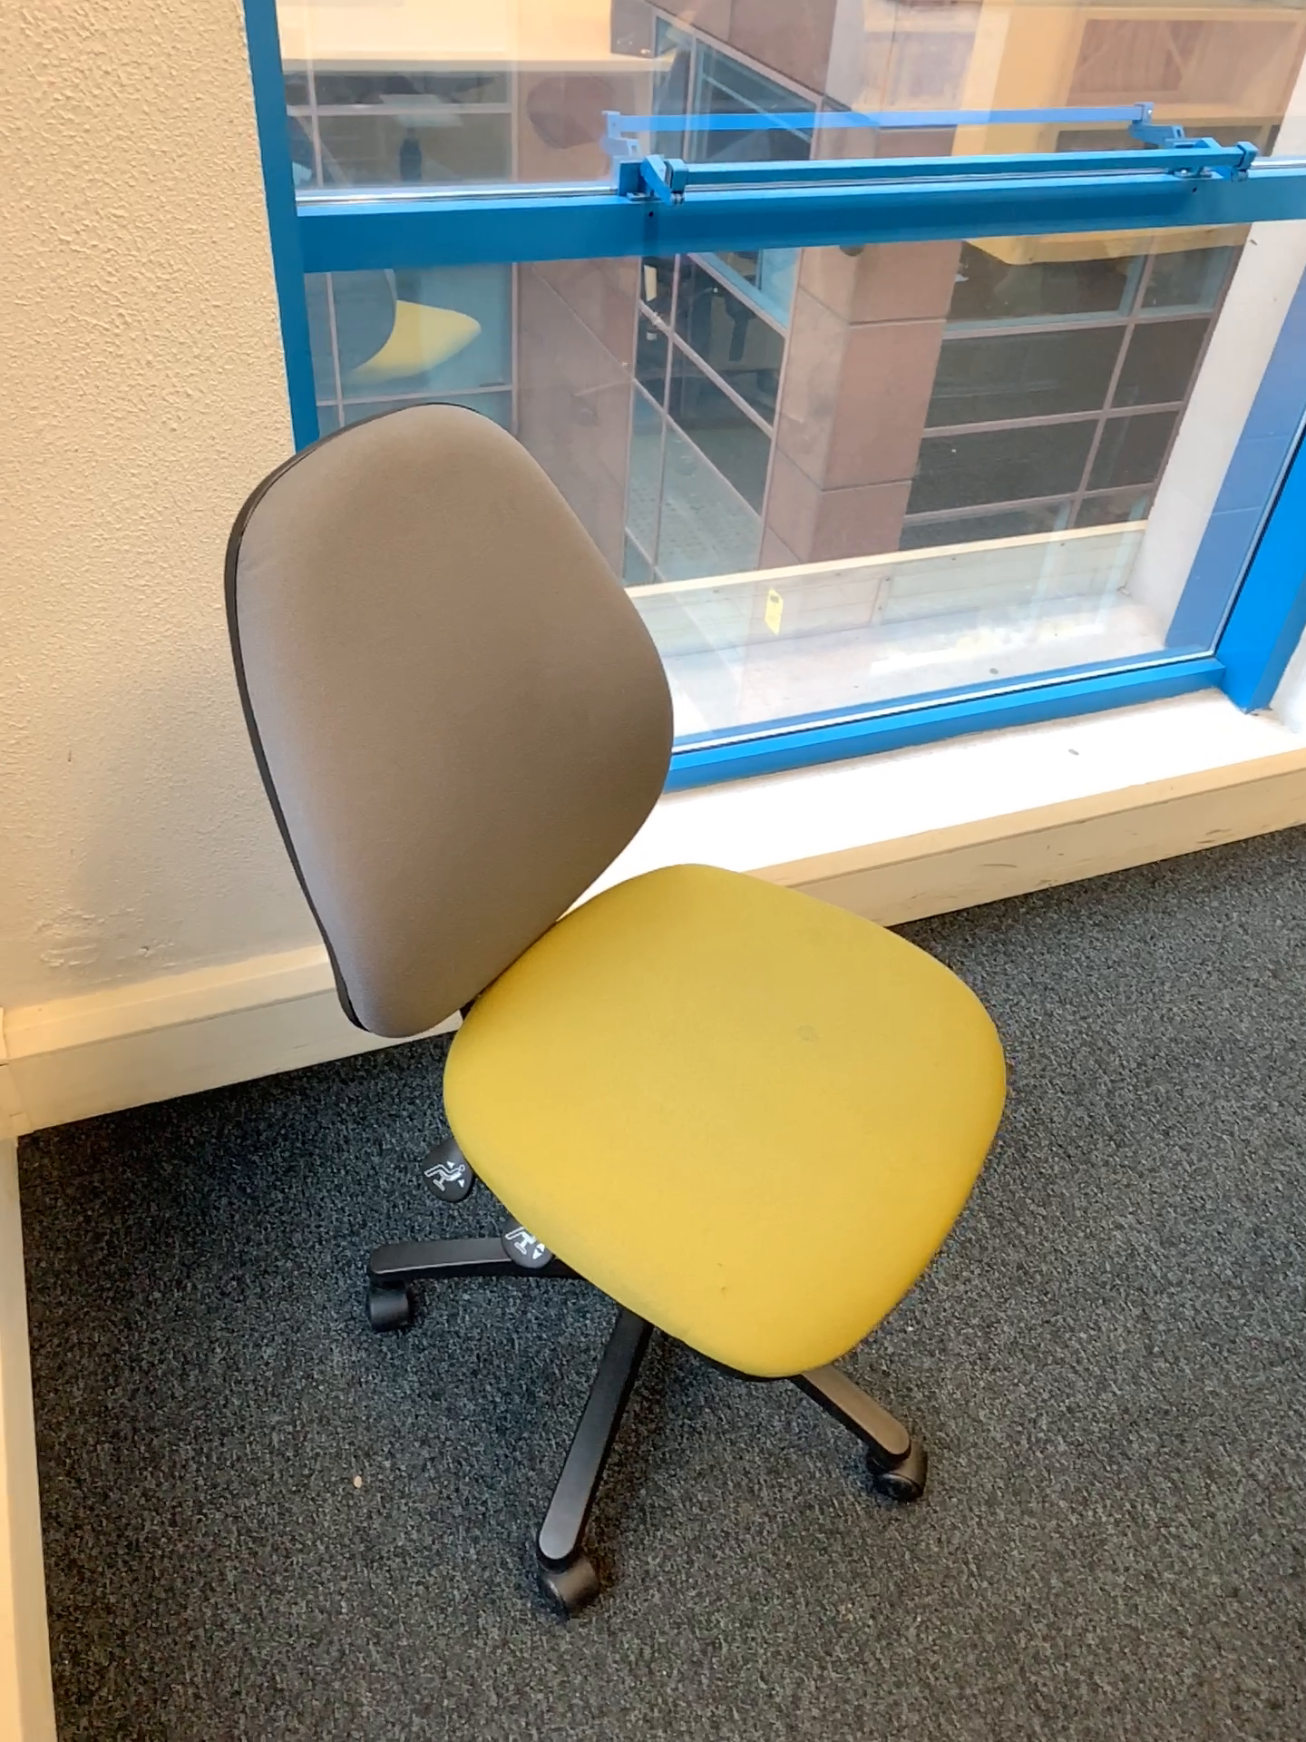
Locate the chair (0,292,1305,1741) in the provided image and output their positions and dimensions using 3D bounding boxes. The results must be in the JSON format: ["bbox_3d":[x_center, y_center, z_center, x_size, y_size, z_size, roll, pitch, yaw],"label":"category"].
[{"bbox_3d":[0.070,0.124,1.139,0.679,0.876,0.697,25,45,21],"label":"chair"}]
